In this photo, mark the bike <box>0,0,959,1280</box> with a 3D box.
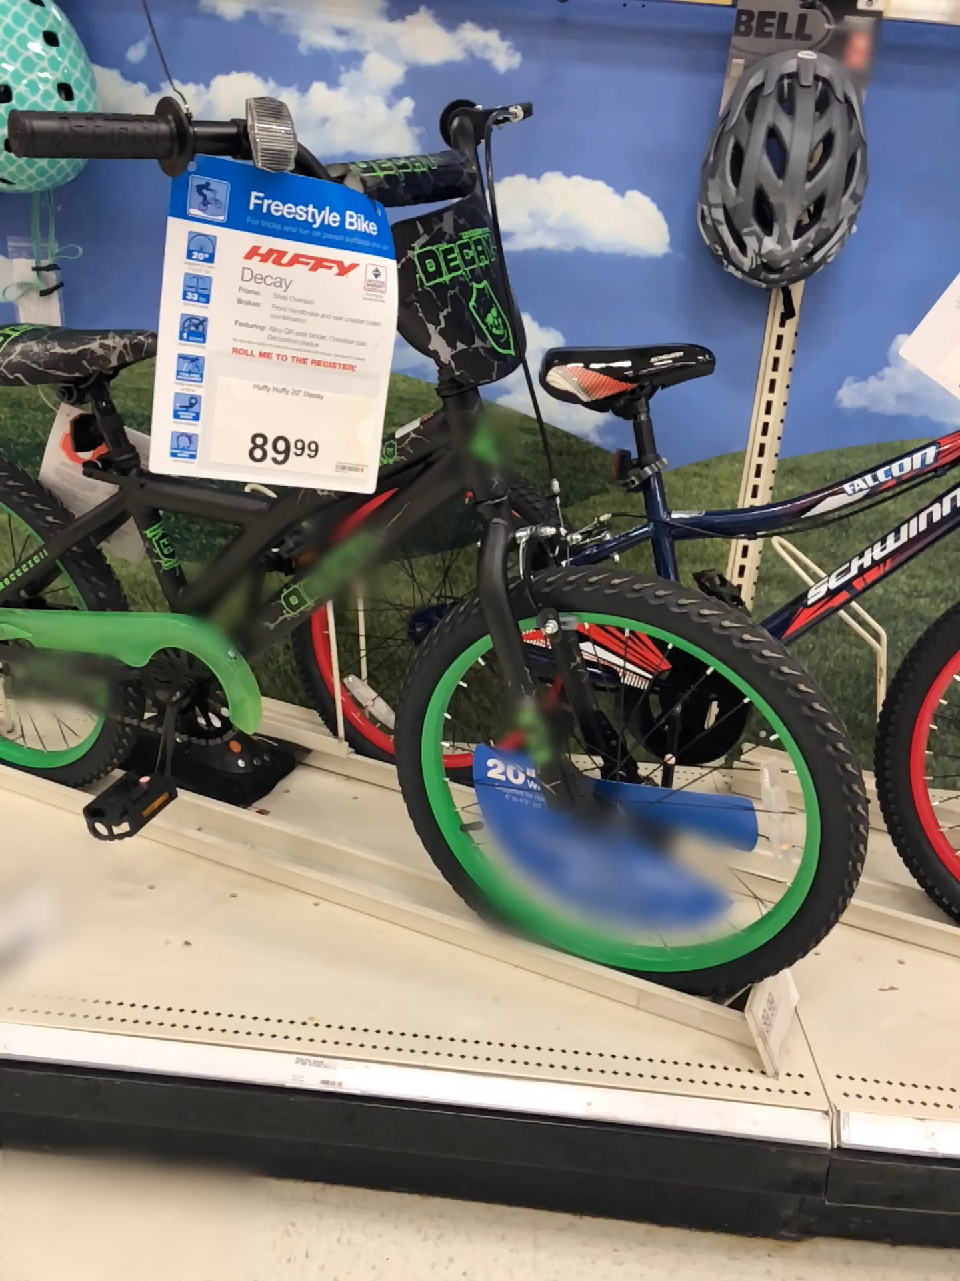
[{"bbox_3d":[-0.269,-0.142,1.128,1.361,0.880,0.630,11,19,20],"label":"bike"}]
